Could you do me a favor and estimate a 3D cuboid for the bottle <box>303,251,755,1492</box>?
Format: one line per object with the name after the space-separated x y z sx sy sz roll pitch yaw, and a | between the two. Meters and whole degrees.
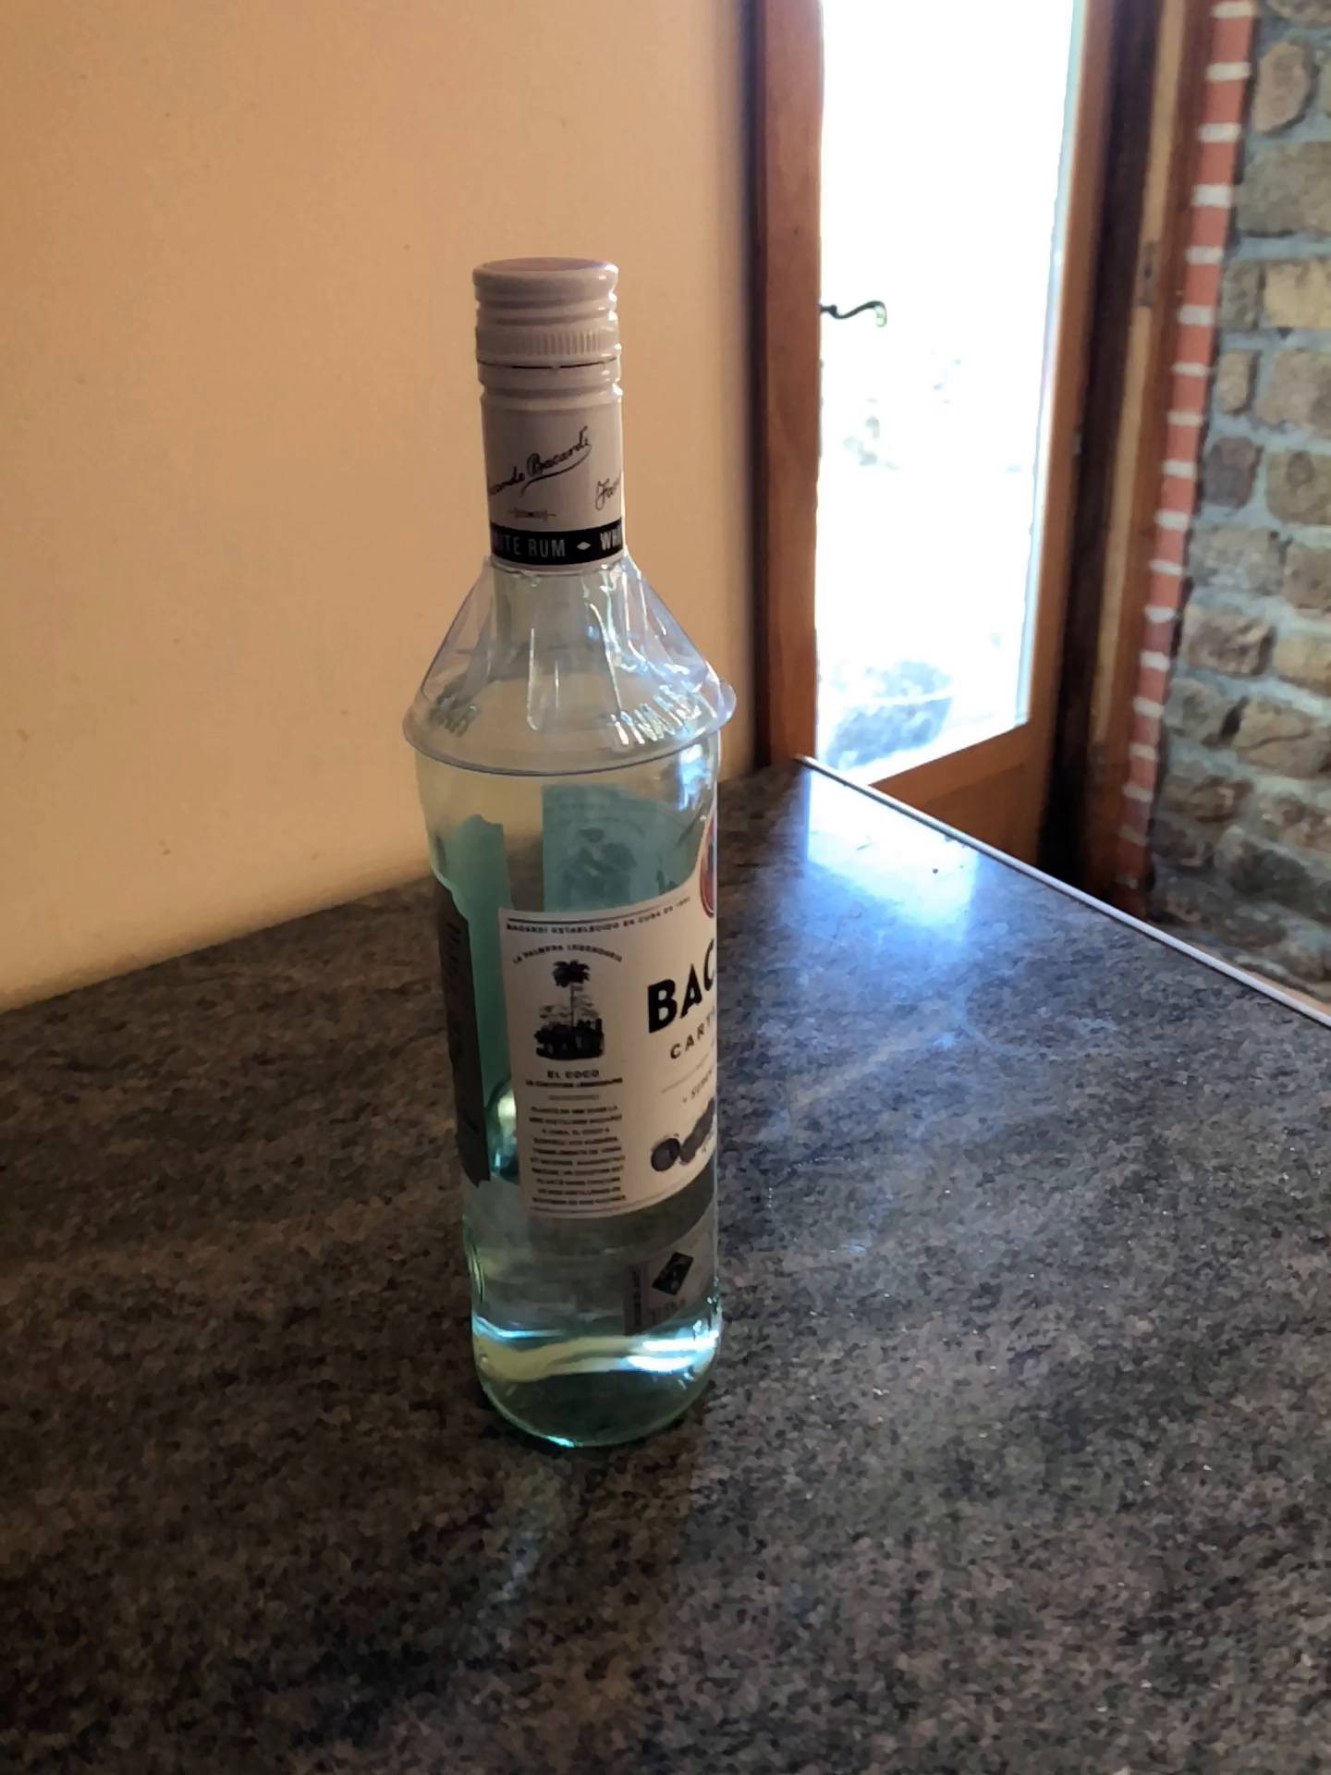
-0.023 0.007 0.366 0.080 0.298 0.080 -2 26 1 | bottle
